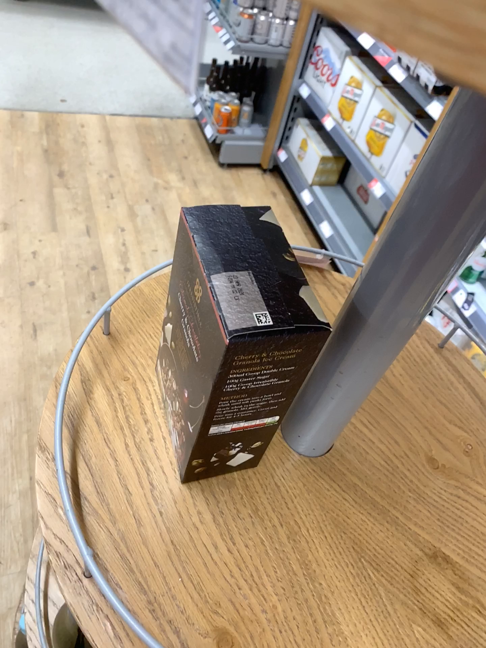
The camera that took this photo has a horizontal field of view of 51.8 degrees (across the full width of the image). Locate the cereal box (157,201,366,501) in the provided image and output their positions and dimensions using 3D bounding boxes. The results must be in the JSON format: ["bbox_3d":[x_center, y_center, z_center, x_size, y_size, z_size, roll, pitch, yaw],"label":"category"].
[{"bbox_3d":[-0.007,0.029,0.422,0.090,0.218,0.141,-5,52,-20],"label":"cereal box"}]
